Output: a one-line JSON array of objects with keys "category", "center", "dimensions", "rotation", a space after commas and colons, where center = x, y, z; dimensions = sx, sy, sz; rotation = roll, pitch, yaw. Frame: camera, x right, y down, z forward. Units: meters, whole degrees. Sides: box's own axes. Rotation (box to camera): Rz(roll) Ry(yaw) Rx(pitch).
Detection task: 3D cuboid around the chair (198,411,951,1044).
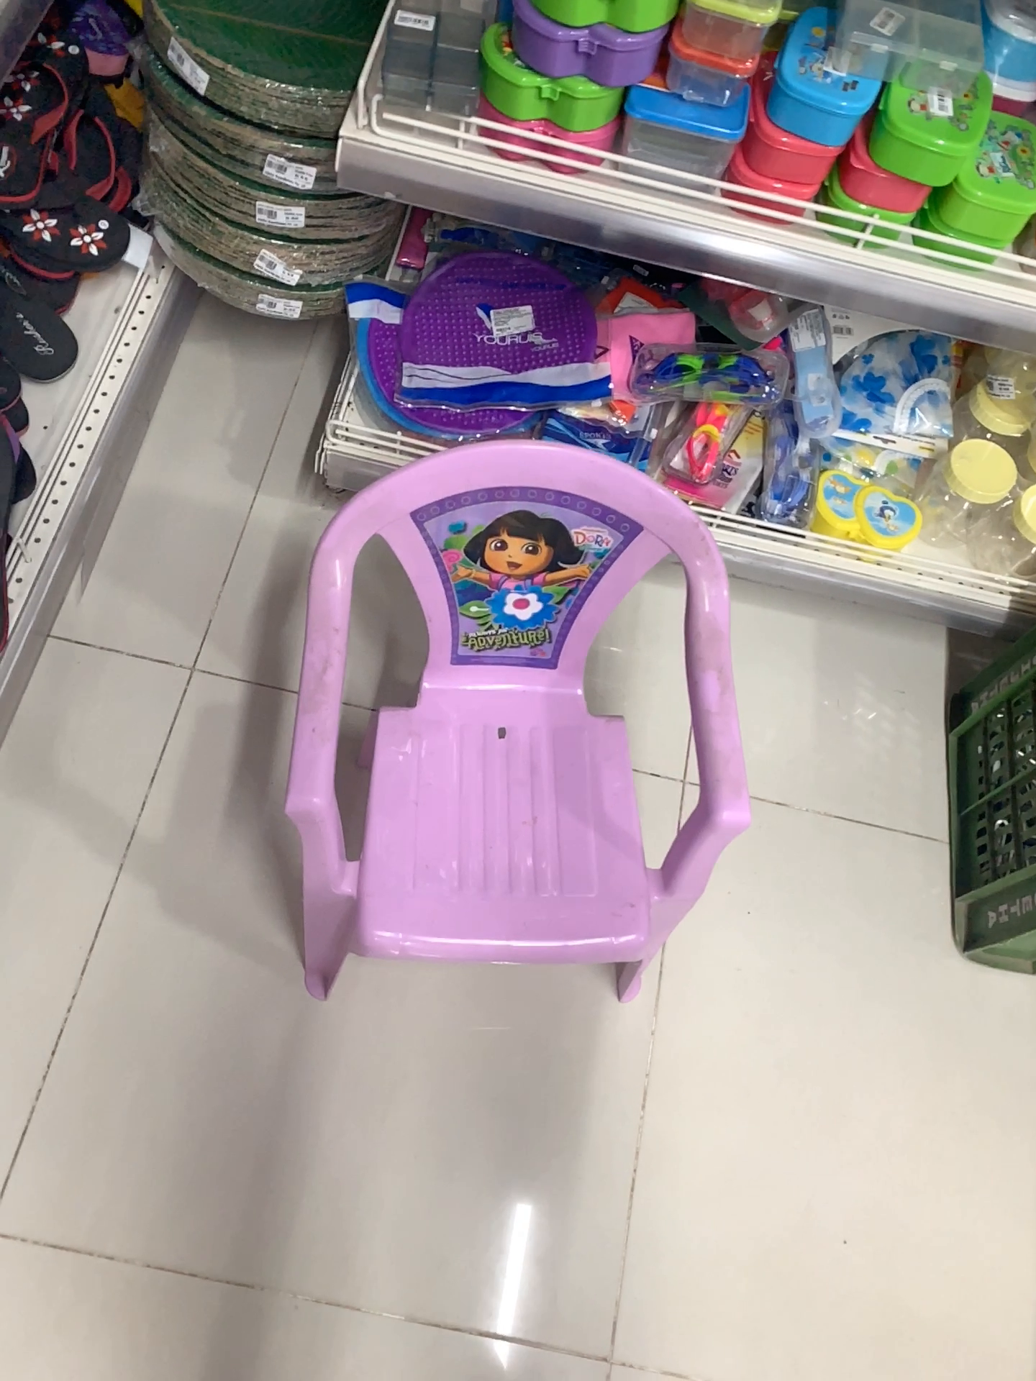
[{"category": "chair", "center": [0.010, 0.074, 0.814], "dimensions": [0.400, 0.430, 0.340], "rotation": [2, 66, -7]}]
